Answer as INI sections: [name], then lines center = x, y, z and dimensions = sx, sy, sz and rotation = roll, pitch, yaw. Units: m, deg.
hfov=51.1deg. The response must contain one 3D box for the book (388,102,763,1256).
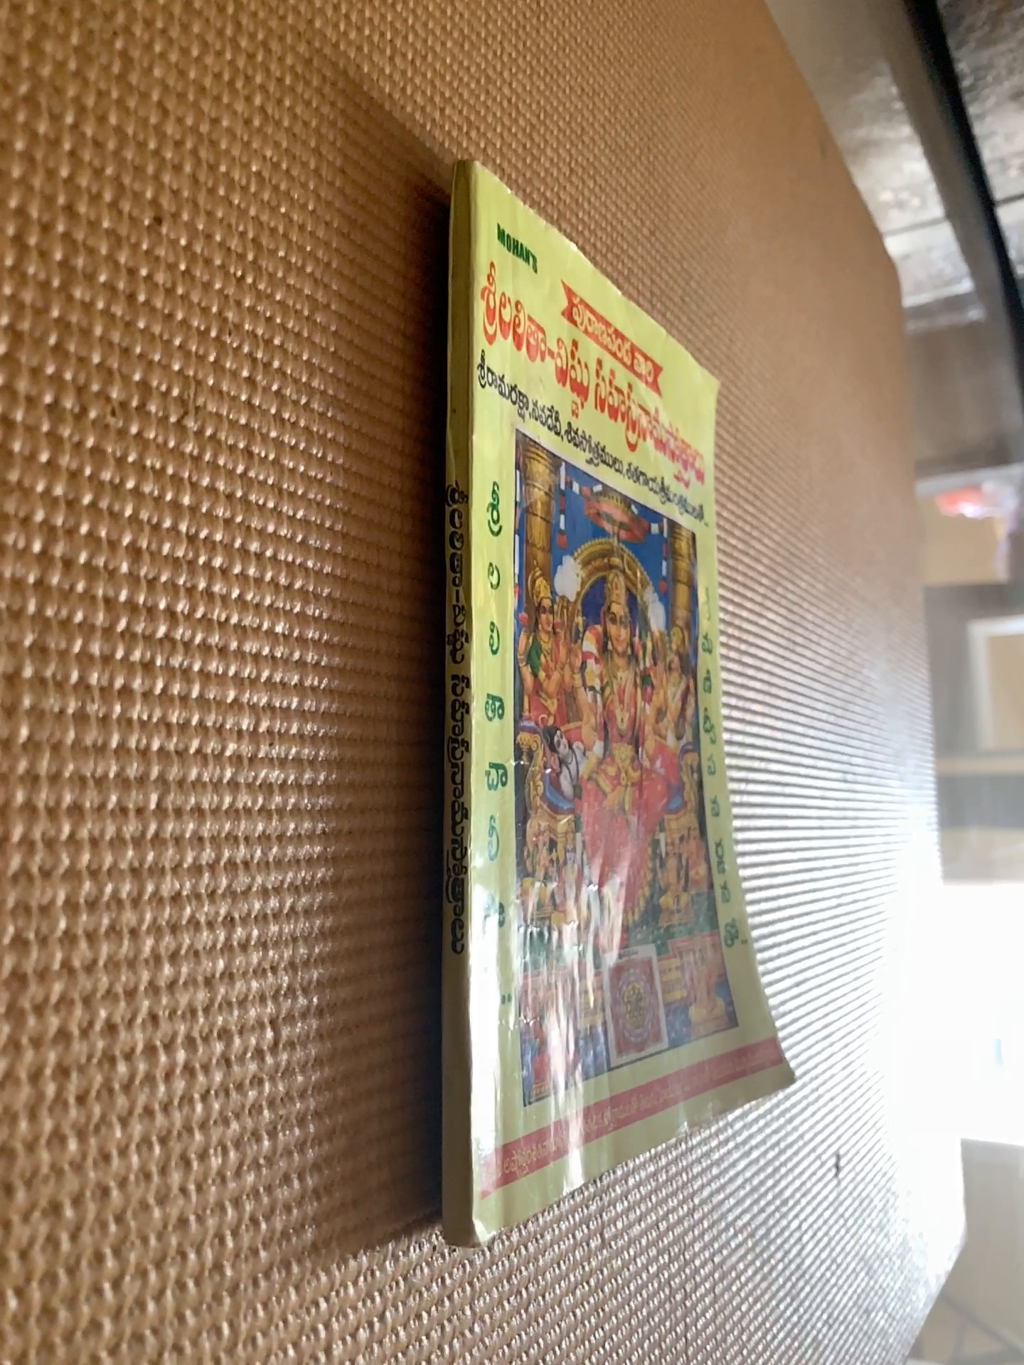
[book]
center = 0.022, 0.000, 0.257
dimensions = 0.141, 0.020, 0.210
rotation = 12, 75, -57
